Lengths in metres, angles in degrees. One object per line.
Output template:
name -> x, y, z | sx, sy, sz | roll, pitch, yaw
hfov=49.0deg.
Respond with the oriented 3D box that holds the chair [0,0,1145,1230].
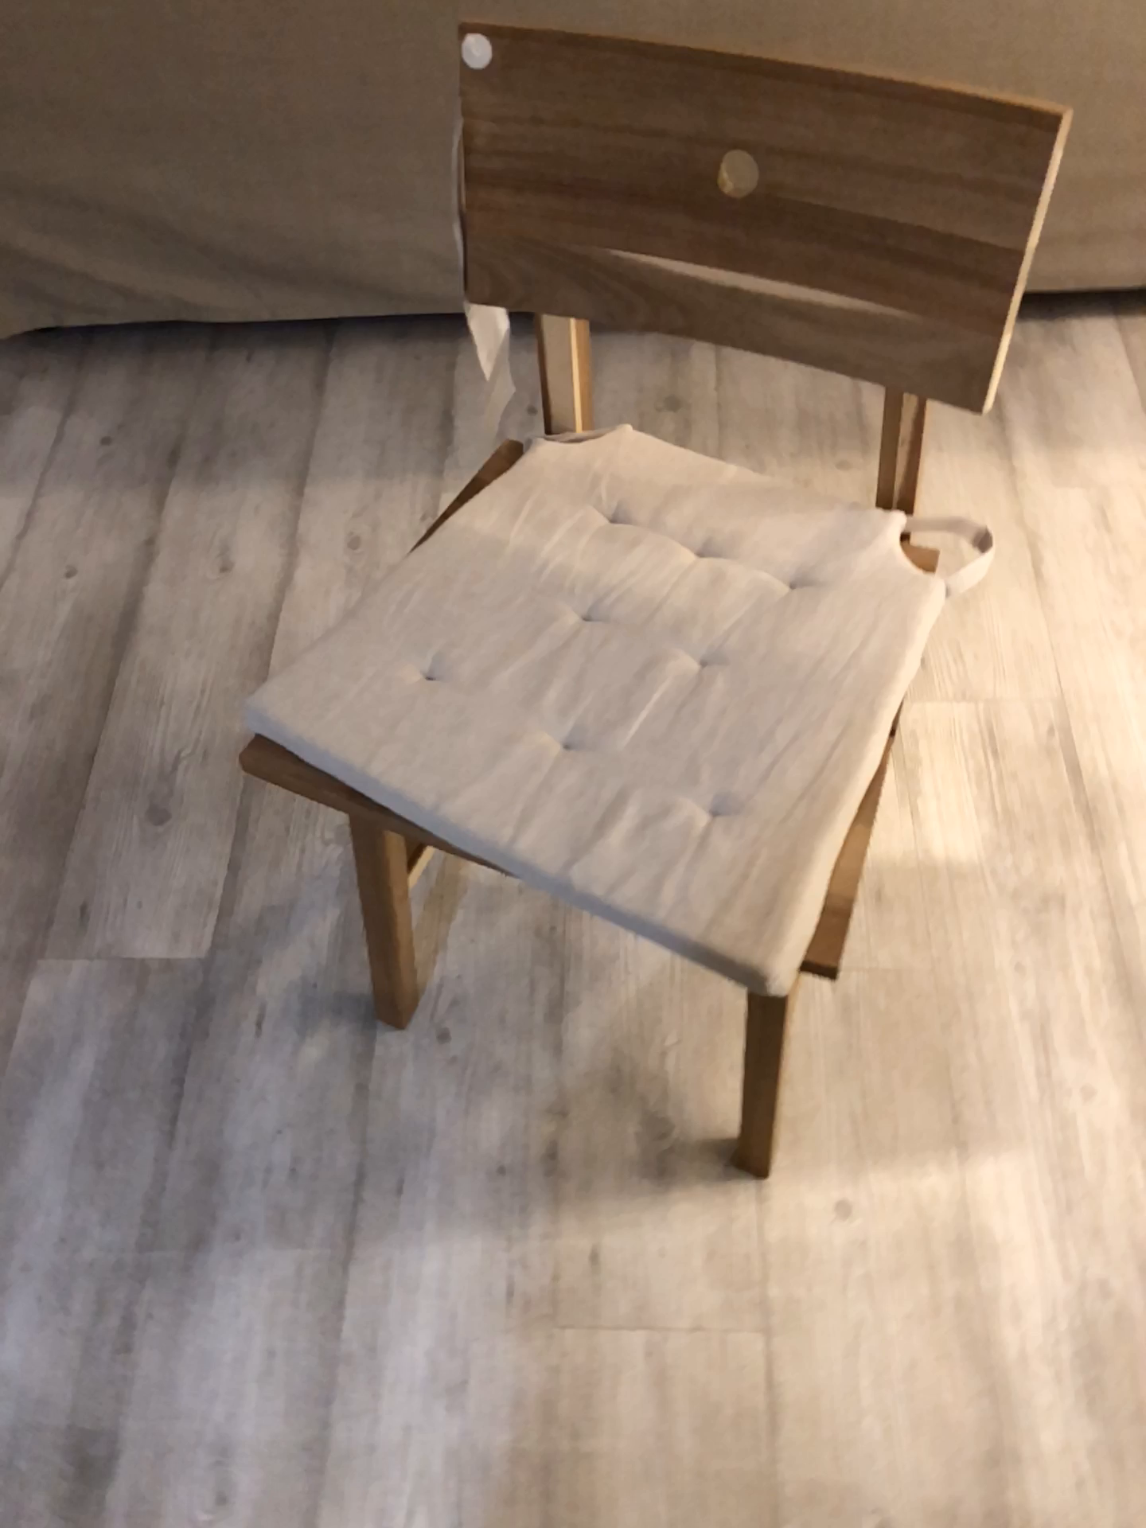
chair -> 0.049, -0.088, 0.905 | 0.500, 0.599, 0.531 | 18, 60, 15
